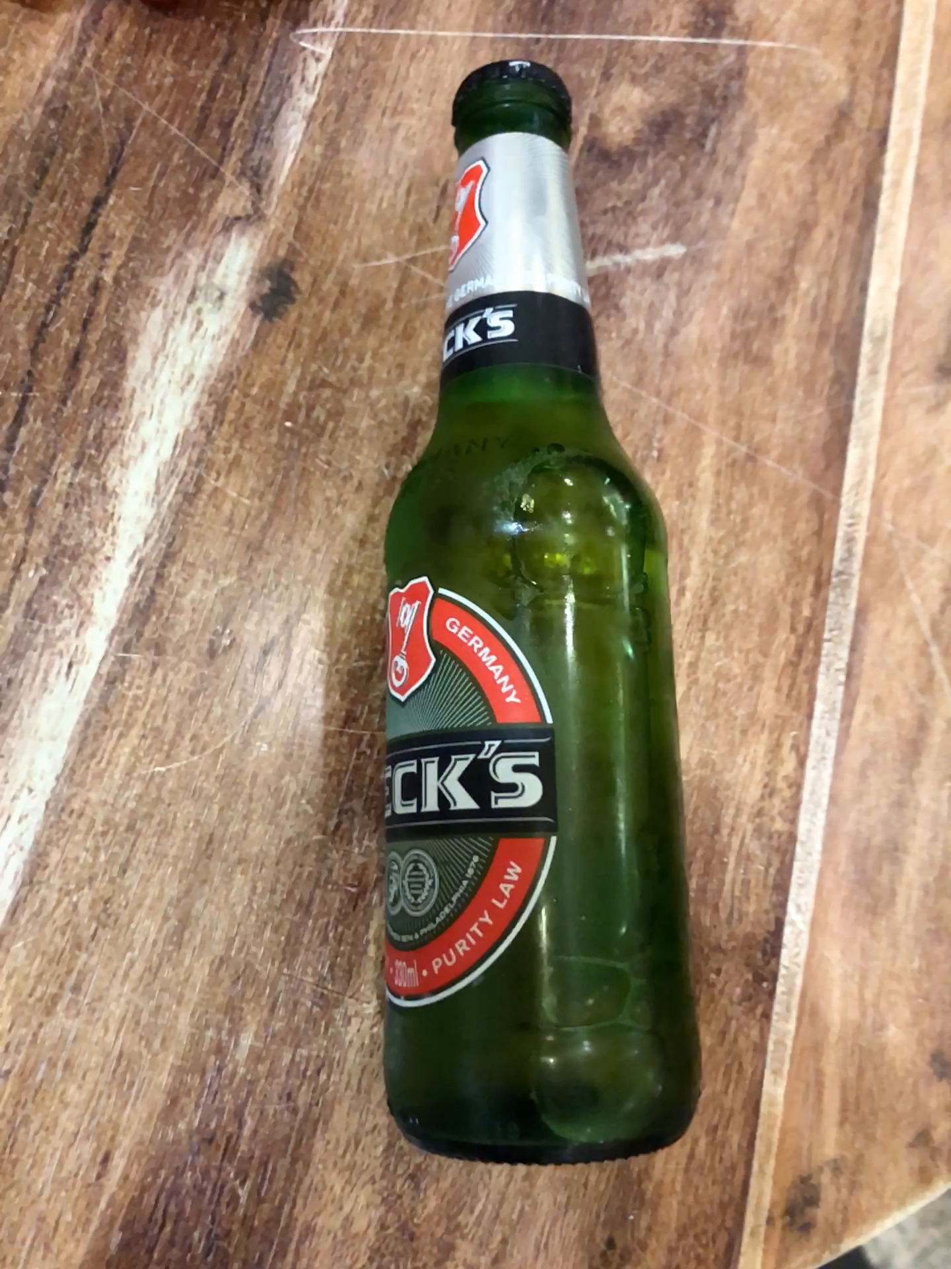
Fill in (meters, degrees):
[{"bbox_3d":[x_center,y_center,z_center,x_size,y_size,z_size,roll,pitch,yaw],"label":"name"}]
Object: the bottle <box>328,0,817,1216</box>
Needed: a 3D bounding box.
[{"bbox_3d":[0.012,-0.018,0.223,0.070,0.060,0.230,4,75,-22],"label":"bottle"}]
